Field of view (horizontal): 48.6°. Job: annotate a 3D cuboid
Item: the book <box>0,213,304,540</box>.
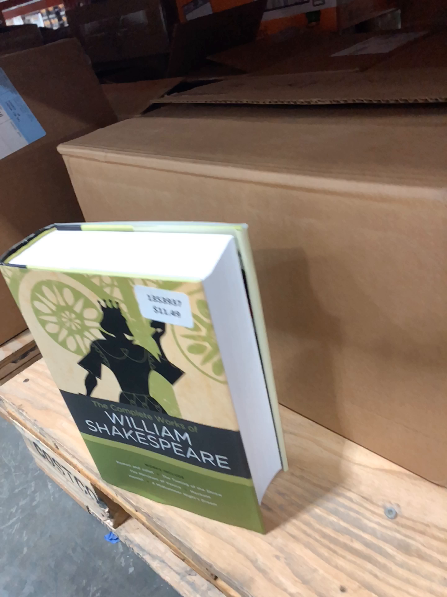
[{"bbox_3d":[-0.048,0.060,0.396,0.181,0.239,0.080,6,37,28],"label":"book"}]
